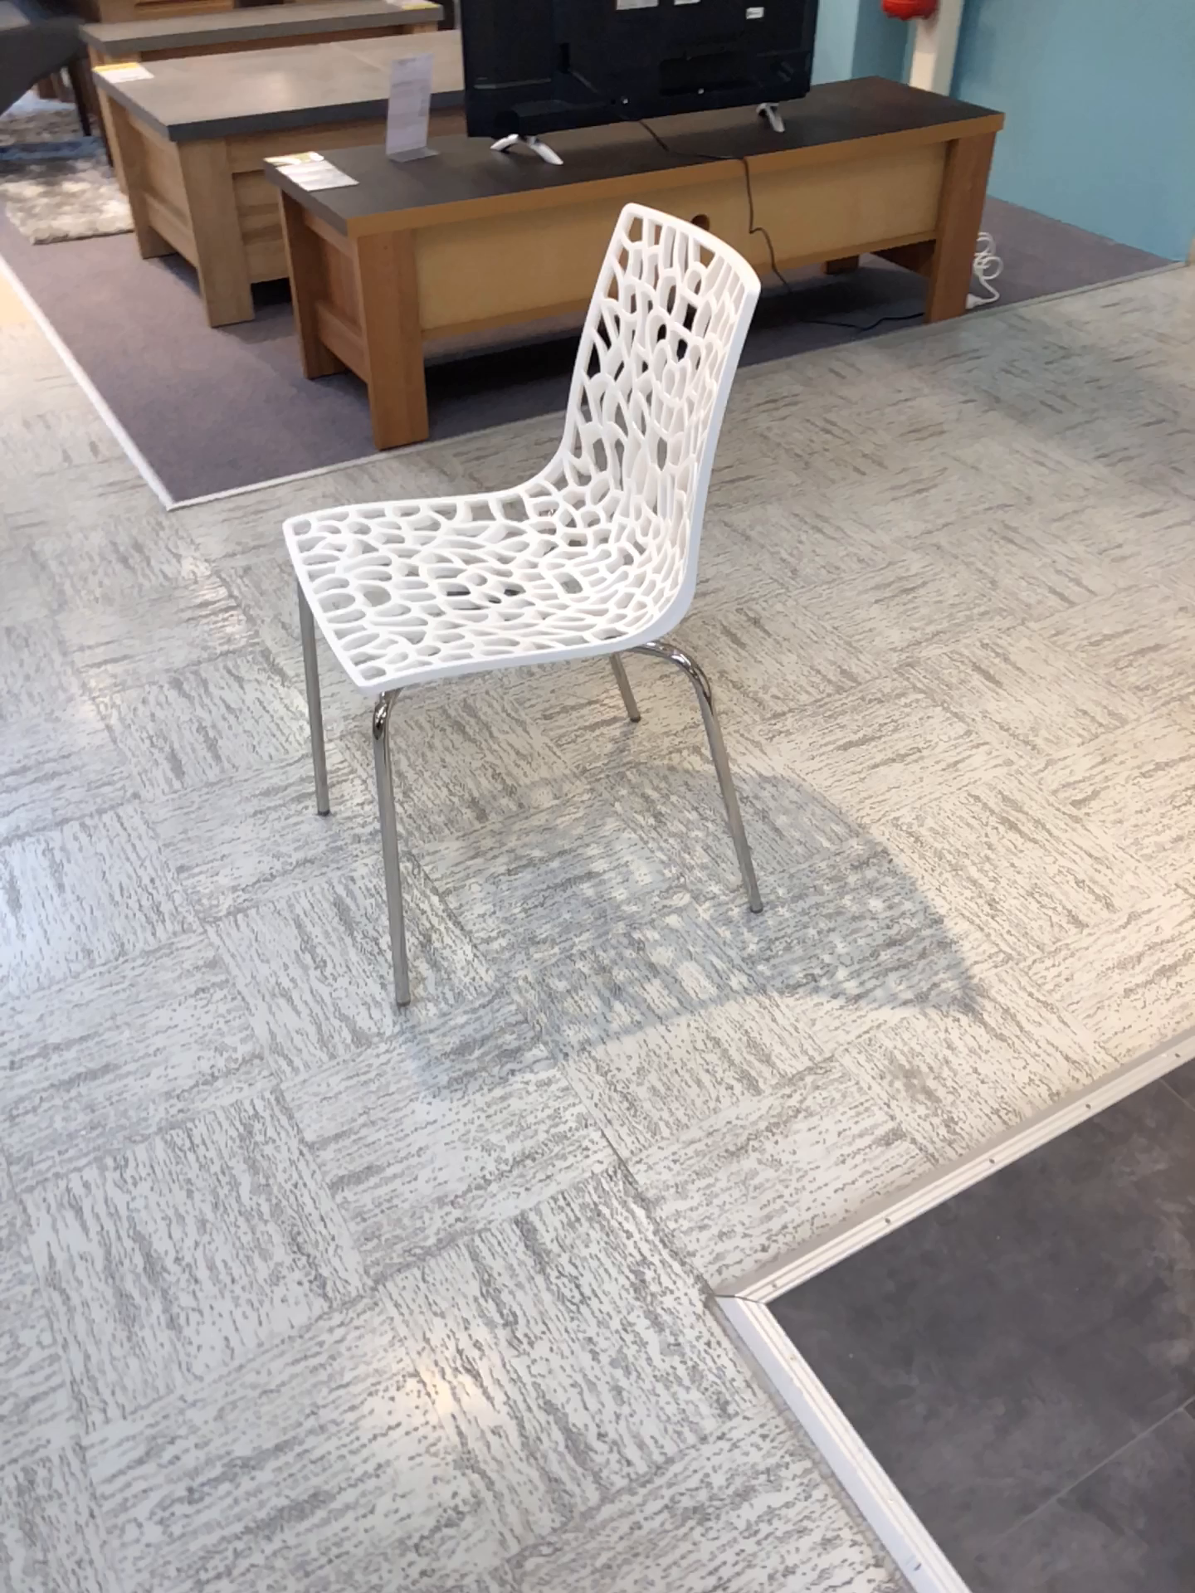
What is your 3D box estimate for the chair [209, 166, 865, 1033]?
[{"bbox_3d":[-0.079,-0.222,1.502,0.511,0.785,0.452,-14,42,-16],"label":"chair"}]
